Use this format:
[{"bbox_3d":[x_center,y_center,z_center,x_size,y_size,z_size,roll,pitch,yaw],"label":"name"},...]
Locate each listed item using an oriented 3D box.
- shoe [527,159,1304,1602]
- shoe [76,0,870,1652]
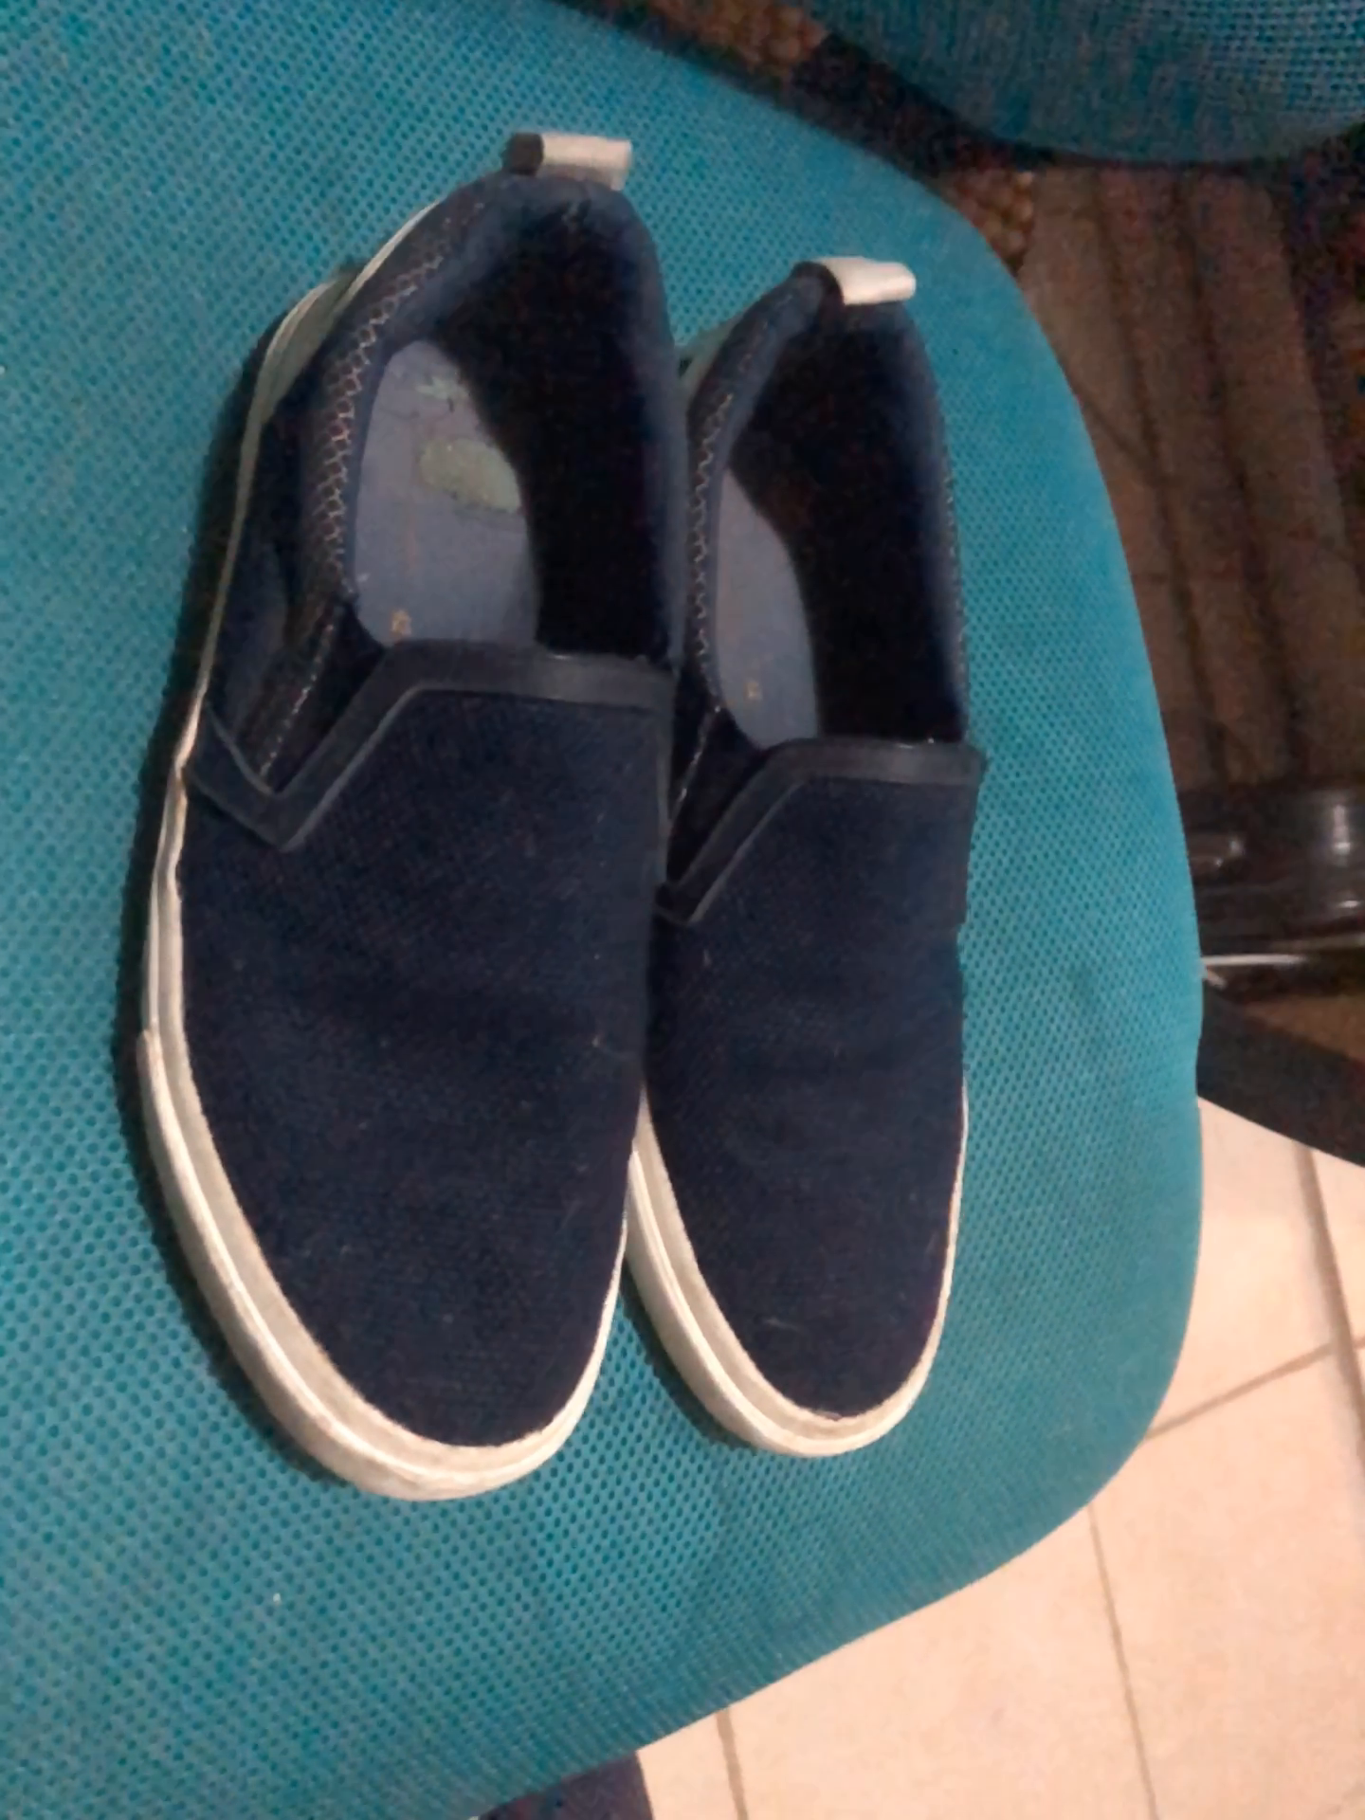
[{"bbox_3d":[0.050,-0.007,0.378,0.121,0.109,0.290,0,81,-34],"label":"shoe"},{"bbox_3d":[-0.051,-0.024,0.321,0.121,0.109,0.290,3,79,-33],"label":"shoe"}]
